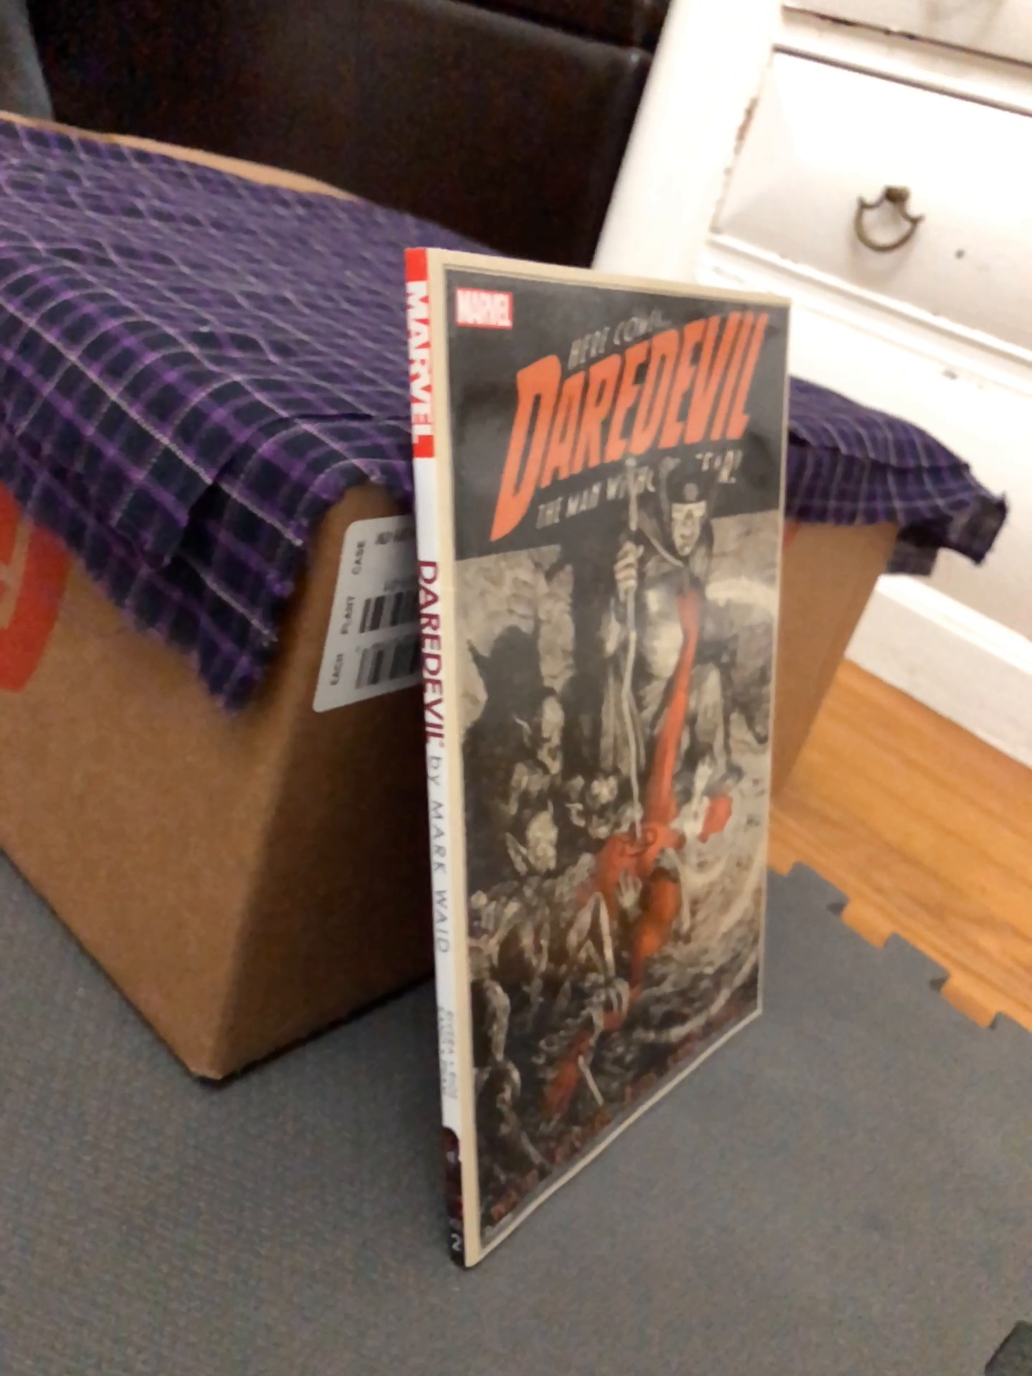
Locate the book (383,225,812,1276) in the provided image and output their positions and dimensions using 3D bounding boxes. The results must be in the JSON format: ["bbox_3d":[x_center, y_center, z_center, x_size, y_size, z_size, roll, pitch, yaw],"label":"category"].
[{"bbox_3d":[0.032,0.008,0.310,0.020,0.229,0.161,9,16,37],"label":"book"}]
